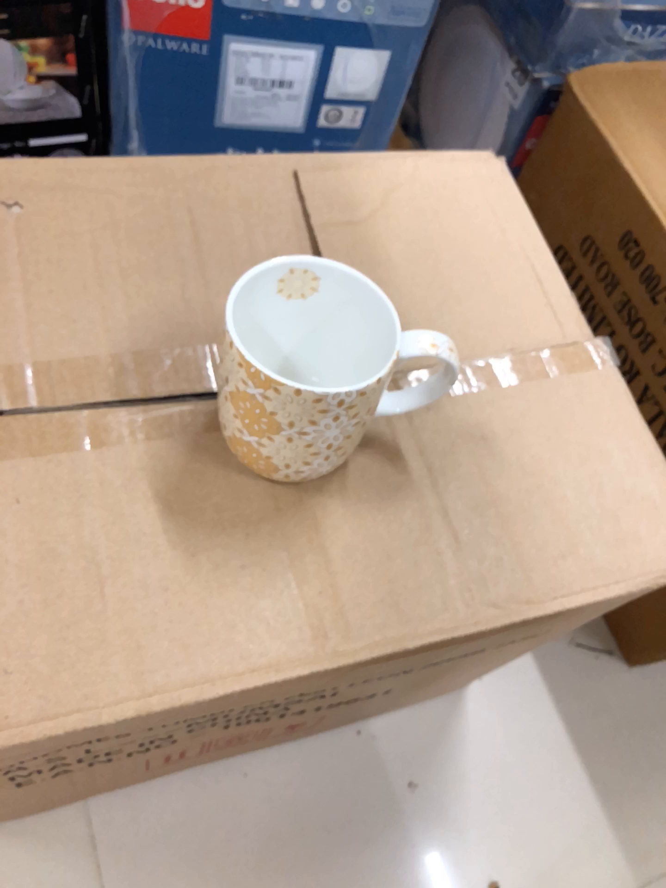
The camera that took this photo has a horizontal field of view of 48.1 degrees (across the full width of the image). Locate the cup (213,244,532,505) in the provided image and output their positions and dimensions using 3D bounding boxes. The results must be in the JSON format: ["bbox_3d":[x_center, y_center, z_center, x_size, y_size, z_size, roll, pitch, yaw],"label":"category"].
[{"bbox_3d":[0.010,-0.028,0.353,0.120,0.090,0.080,0,58,-15],"label":"cup"}]
